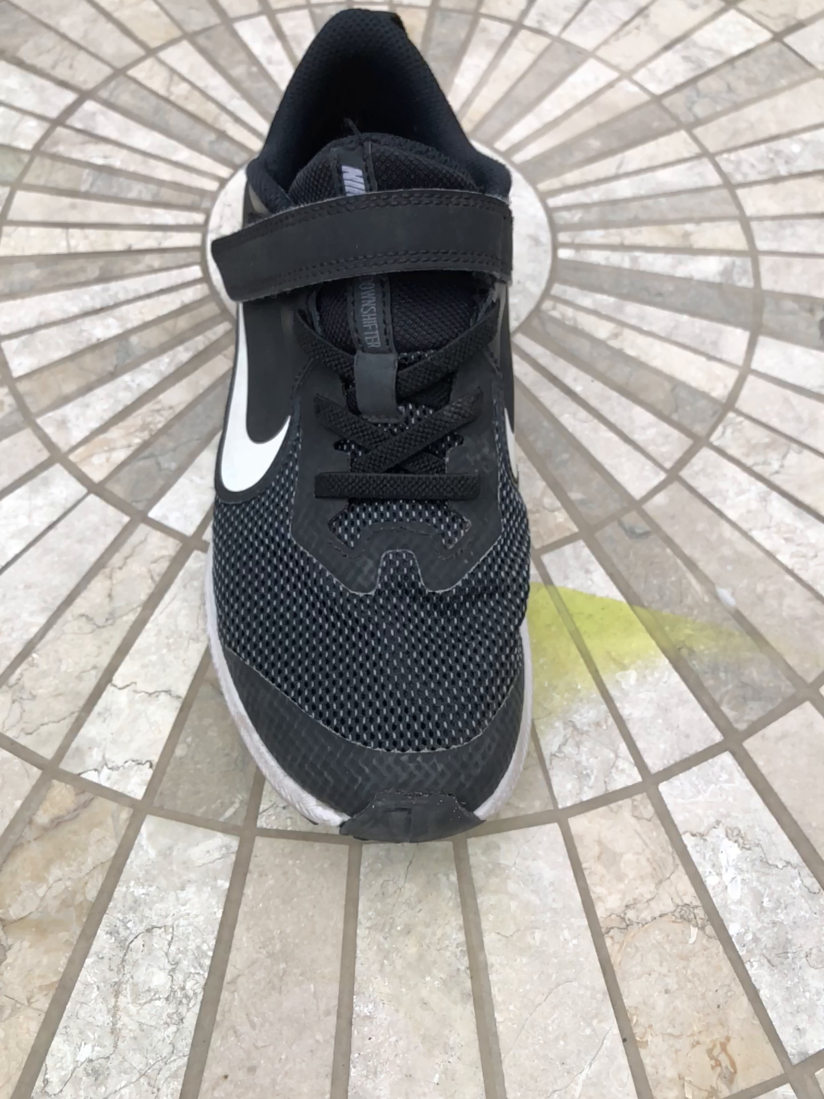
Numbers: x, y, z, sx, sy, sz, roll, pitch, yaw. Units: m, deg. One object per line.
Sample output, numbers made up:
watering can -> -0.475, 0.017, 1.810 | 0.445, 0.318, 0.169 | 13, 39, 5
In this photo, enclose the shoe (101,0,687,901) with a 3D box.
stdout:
shoe -> -0.011, -0.043, 0.256 | 0.100, 0.100, 0.251 | -2, 64, -3
